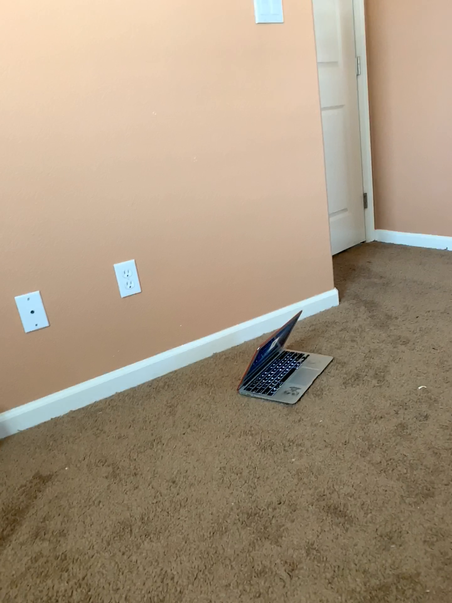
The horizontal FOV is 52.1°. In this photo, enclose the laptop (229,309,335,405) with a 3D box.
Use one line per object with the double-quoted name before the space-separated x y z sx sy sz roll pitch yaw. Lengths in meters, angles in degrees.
"laptop" 0.181 0.154 1.410 0.193 0.148 0.299 4 23 34
